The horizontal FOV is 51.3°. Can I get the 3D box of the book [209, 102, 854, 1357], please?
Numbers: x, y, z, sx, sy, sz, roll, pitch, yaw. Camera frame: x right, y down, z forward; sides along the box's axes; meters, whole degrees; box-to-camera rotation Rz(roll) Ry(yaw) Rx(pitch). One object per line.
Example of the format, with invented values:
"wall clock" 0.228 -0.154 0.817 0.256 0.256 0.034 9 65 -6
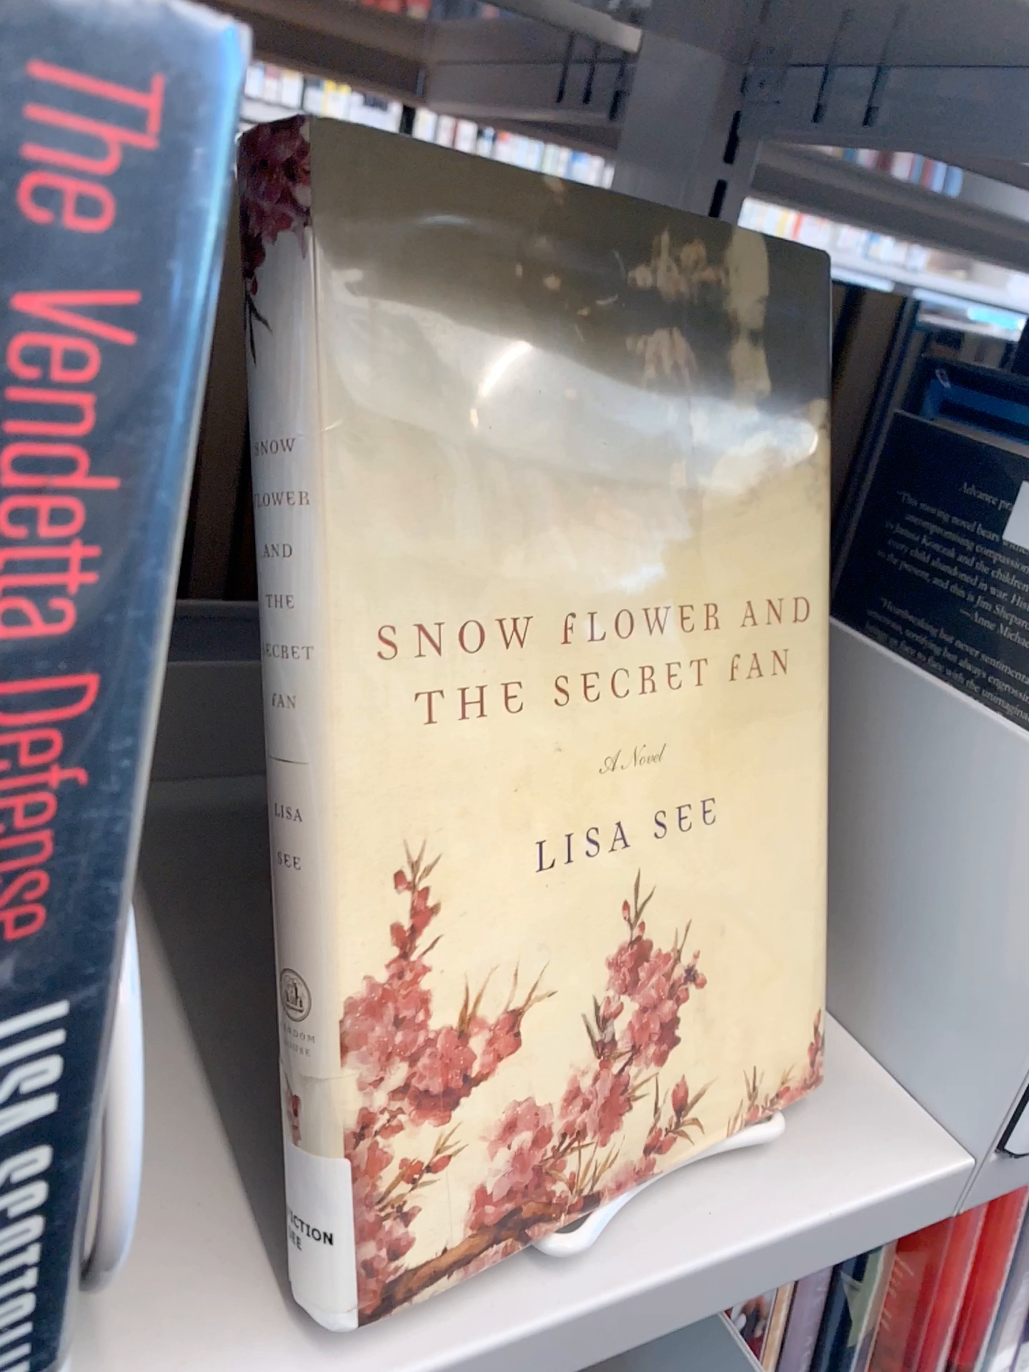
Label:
"book" 0.017 0.006 0.262 0.163 0.231 0.041 -7 8 -39
